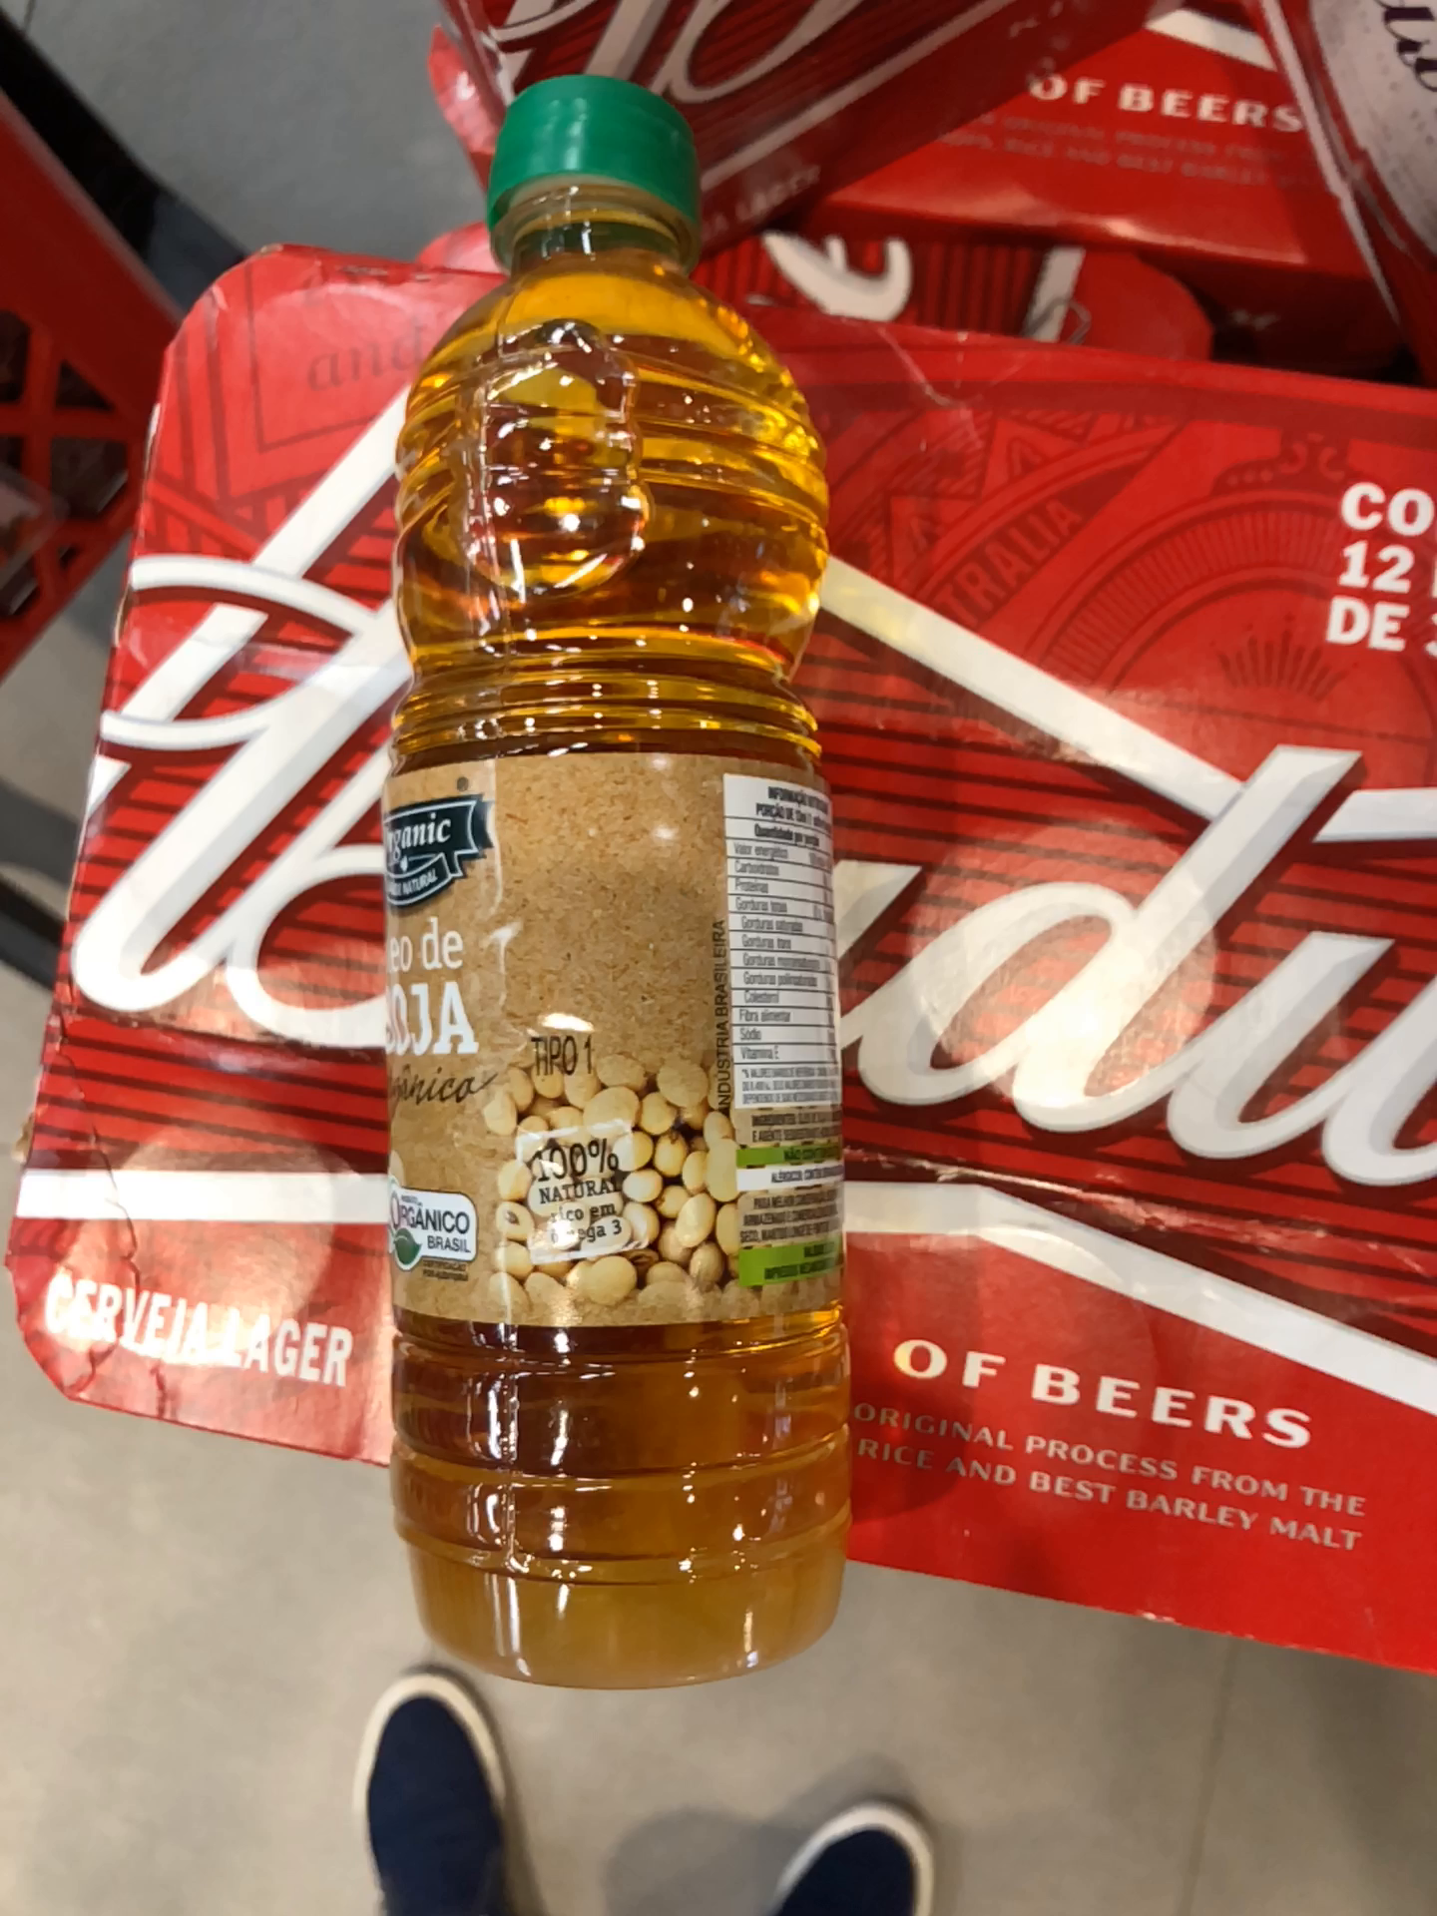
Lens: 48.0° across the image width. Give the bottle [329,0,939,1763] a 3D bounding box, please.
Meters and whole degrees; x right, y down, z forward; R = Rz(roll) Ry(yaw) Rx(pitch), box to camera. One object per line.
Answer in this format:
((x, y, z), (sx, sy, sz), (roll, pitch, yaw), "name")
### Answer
((-0.015, -0.029, 0.225), (0.060, 0.060, 0.240), (1, 86, -32), "bottle")
